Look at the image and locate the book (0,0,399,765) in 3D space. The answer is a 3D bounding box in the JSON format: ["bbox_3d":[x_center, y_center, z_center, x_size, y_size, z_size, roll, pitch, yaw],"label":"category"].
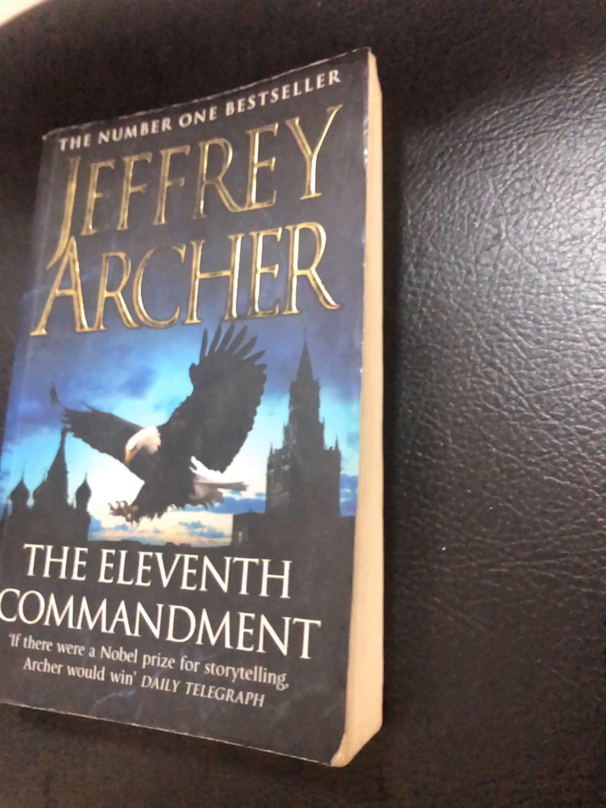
[{"bbox_3d":[-0.041,-0.014,0.211,0.130,0.040,0.200,-1,79,20],"label":"book"}]
